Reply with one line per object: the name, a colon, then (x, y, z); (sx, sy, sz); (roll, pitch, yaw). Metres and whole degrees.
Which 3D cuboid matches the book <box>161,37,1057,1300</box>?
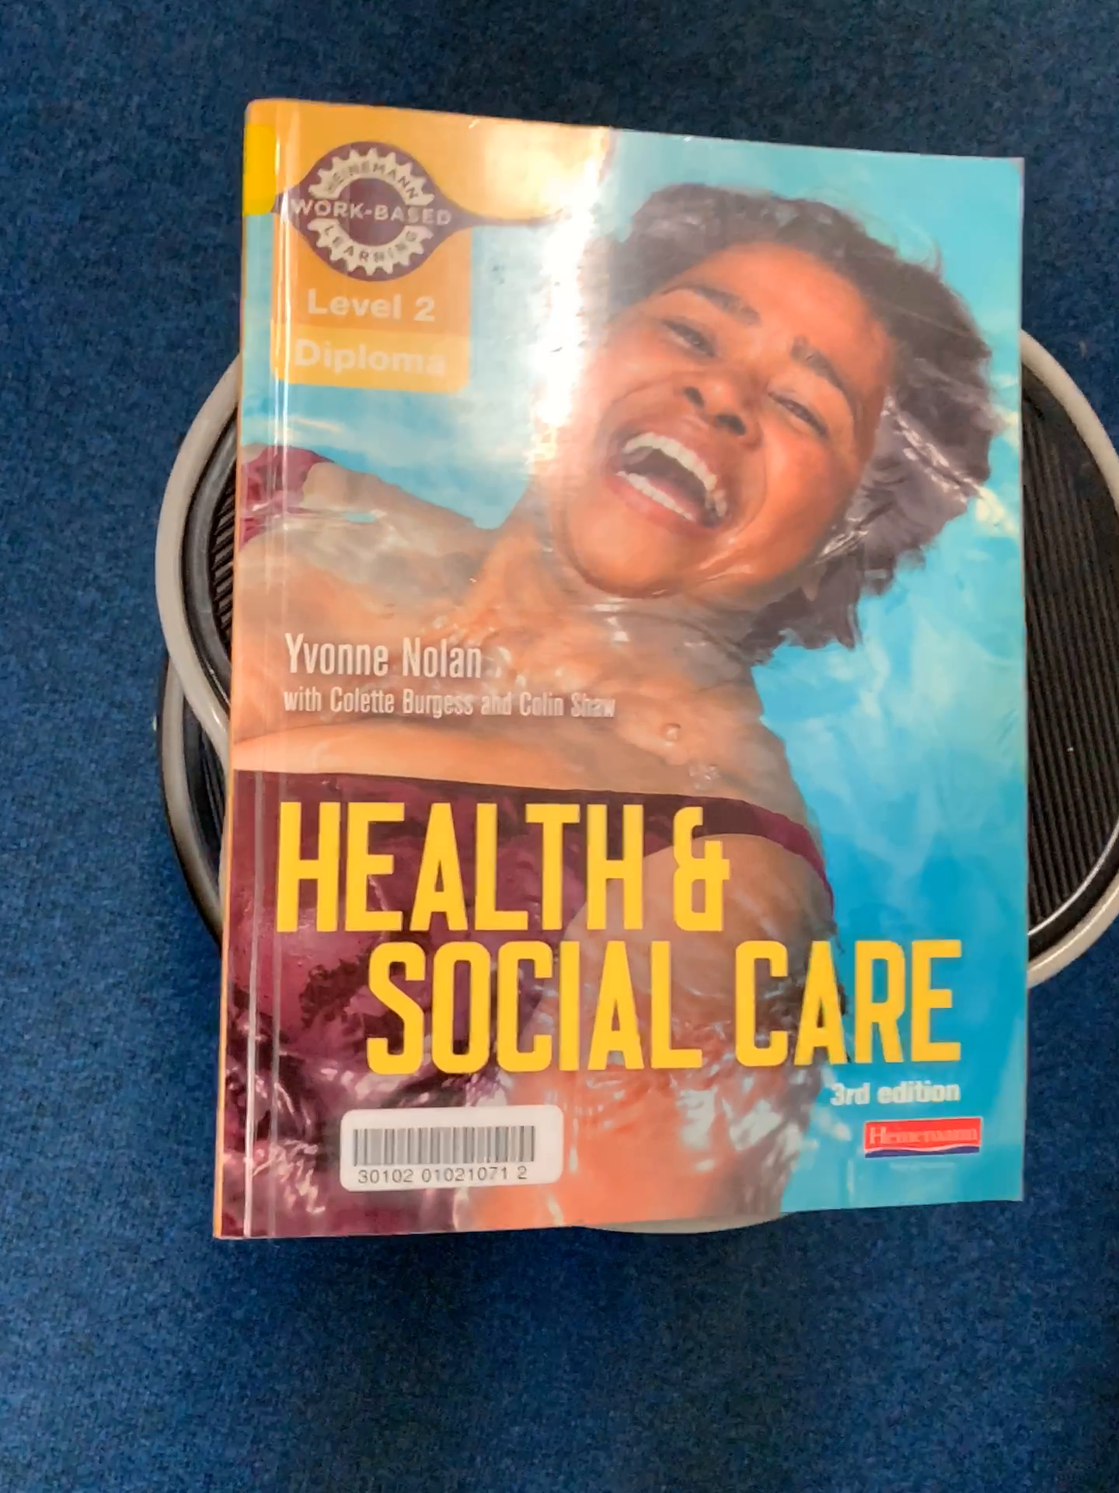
book: (0.015, -0.018, 0.274); (0.200, 0.030, 0.270); (1, 87, -8)
